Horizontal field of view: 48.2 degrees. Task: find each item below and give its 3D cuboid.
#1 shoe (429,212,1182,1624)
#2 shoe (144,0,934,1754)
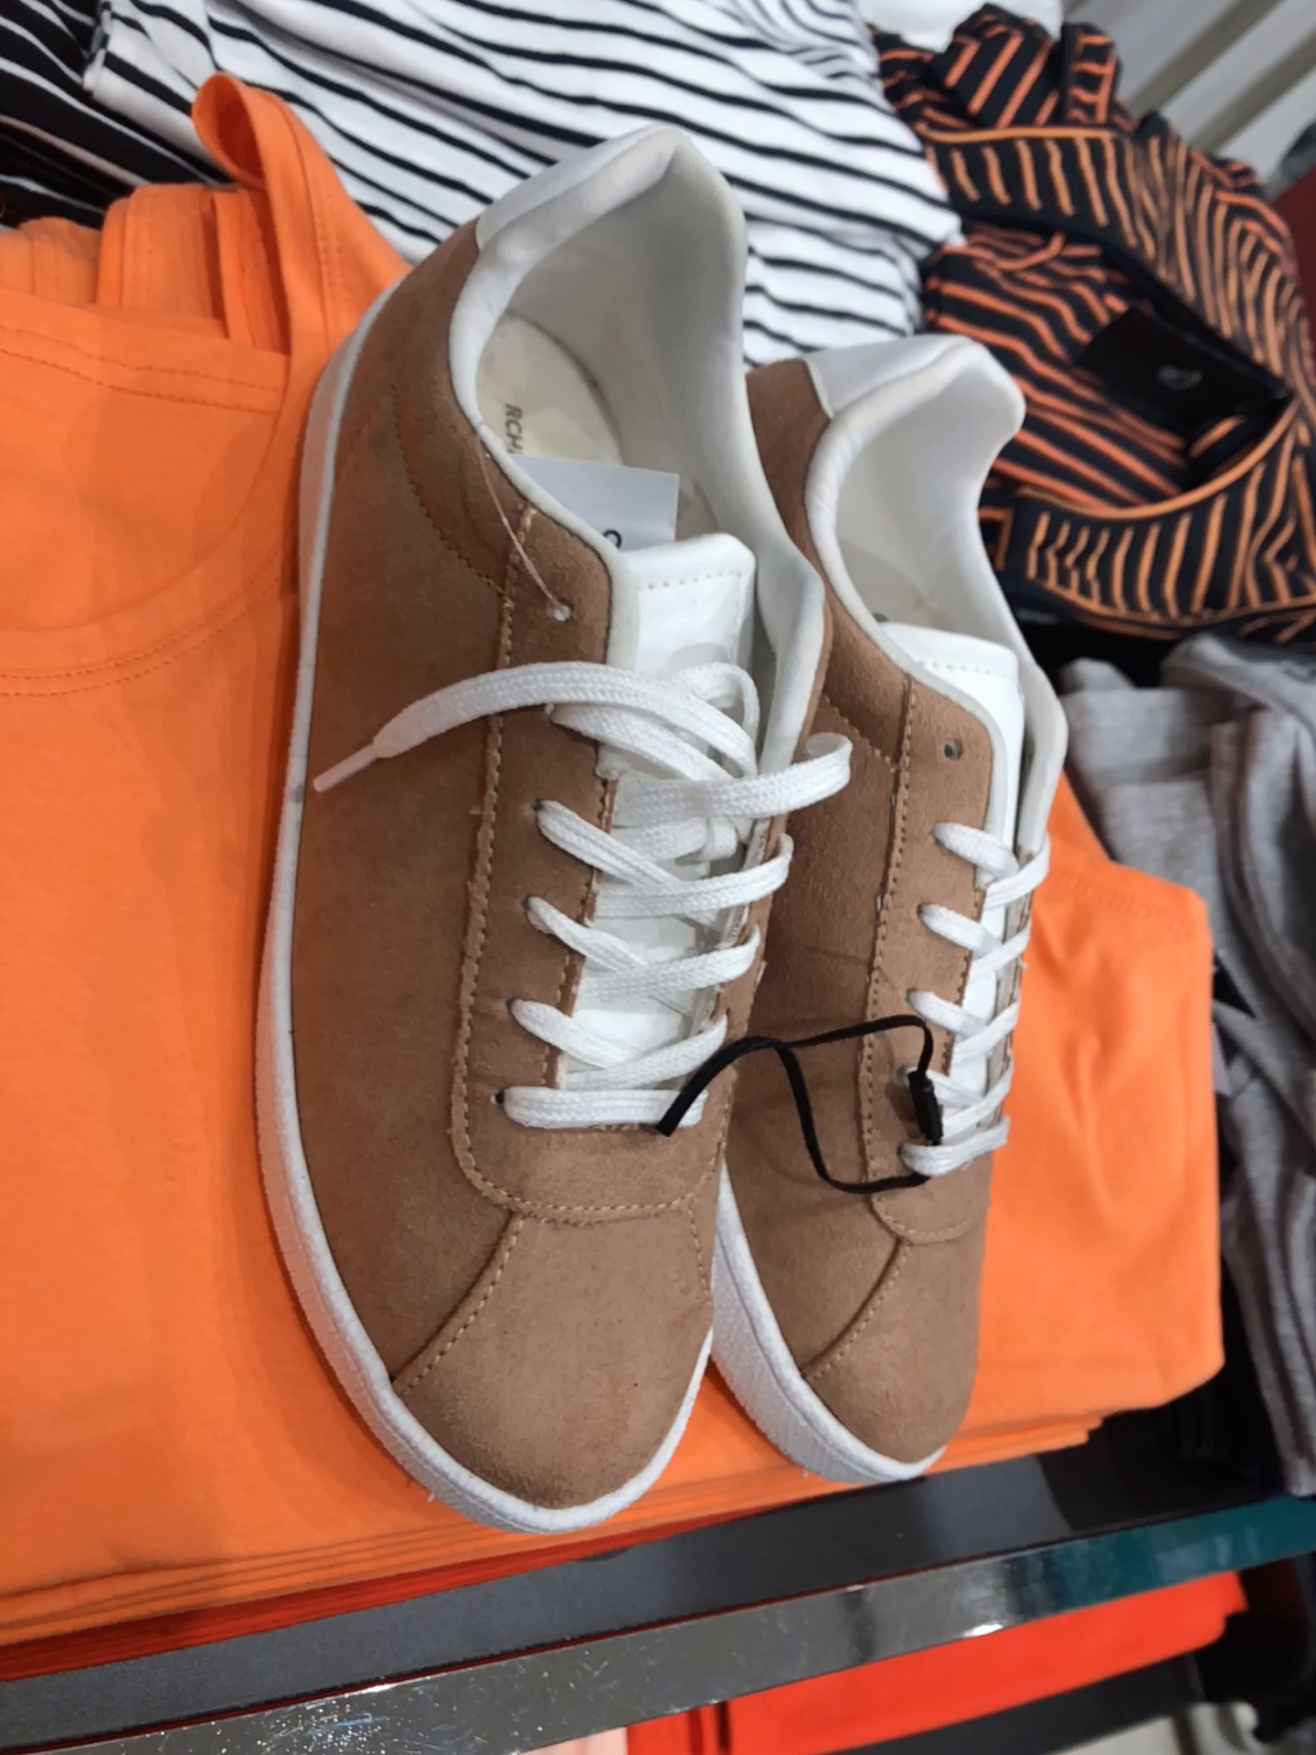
[{"bbox_3d":[0.026,0.007,0.324,0.091,0.099,0.250,0,80,-40],"label":"shoe"},{"bbox_3d":[-0.030,-0.002,0.269,0.091,0.099,0.250,4,77,-38],"label":"shoe"}]
